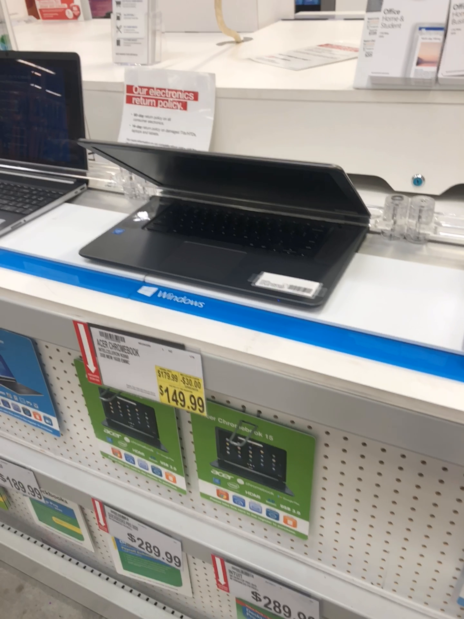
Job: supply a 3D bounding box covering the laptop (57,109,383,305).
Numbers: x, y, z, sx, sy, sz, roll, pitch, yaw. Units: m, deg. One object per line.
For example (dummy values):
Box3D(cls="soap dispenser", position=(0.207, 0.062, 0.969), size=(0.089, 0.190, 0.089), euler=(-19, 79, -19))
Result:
Box3D(cls="laptop", position=(-0.013, -0.162, 0.698), size=(0.365, 0.136, 0.220), euler=(14, 40, 25))
